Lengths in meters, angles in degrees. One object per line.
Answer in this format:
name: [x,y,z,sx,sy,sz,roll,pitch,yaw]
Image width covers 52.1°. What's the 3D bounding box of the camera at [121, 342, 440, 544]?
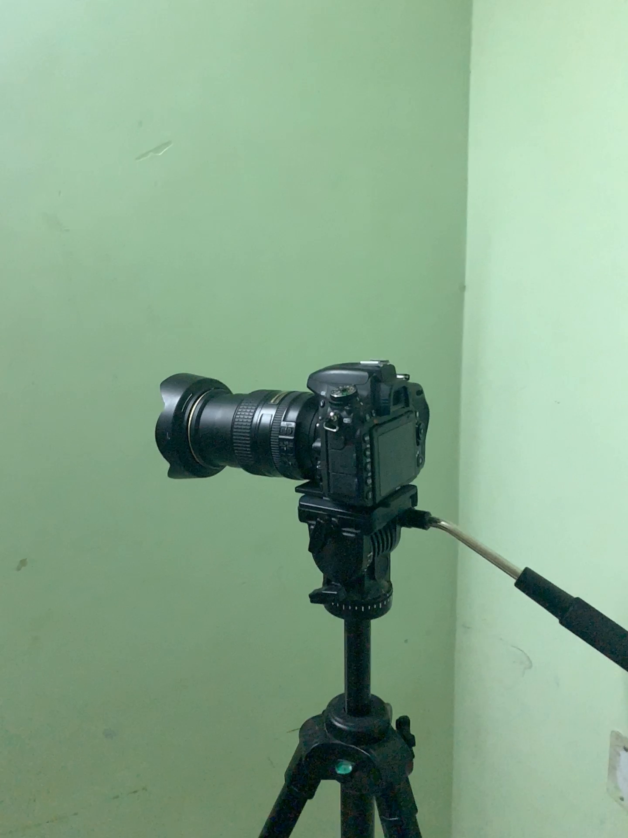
camera: [-0.030,0.004,0.615,0.250,0.132,0.164,7,14,33]
